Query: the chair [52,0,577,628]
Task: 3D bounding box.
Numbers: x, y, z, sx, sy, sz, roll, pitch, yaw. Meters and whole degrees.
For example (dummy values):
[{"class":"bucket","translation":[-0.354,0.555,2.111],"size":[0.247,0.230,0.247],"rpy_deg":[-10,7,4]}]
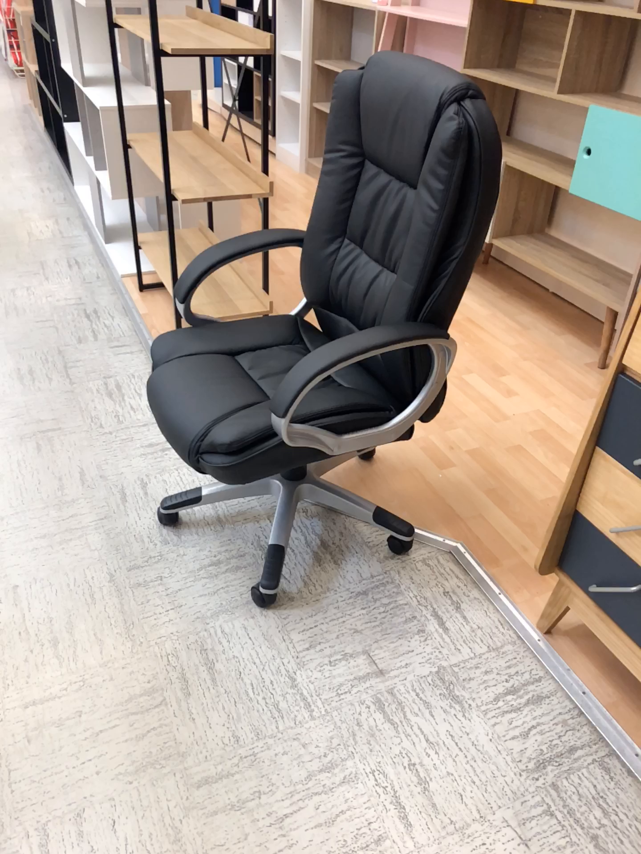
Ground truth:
[{"class":"chair","translation":[-0.087,-0.306,1.568],"size":[0.683,1.063,0.762],"rpy_deg":[-14,36,-27]}]
